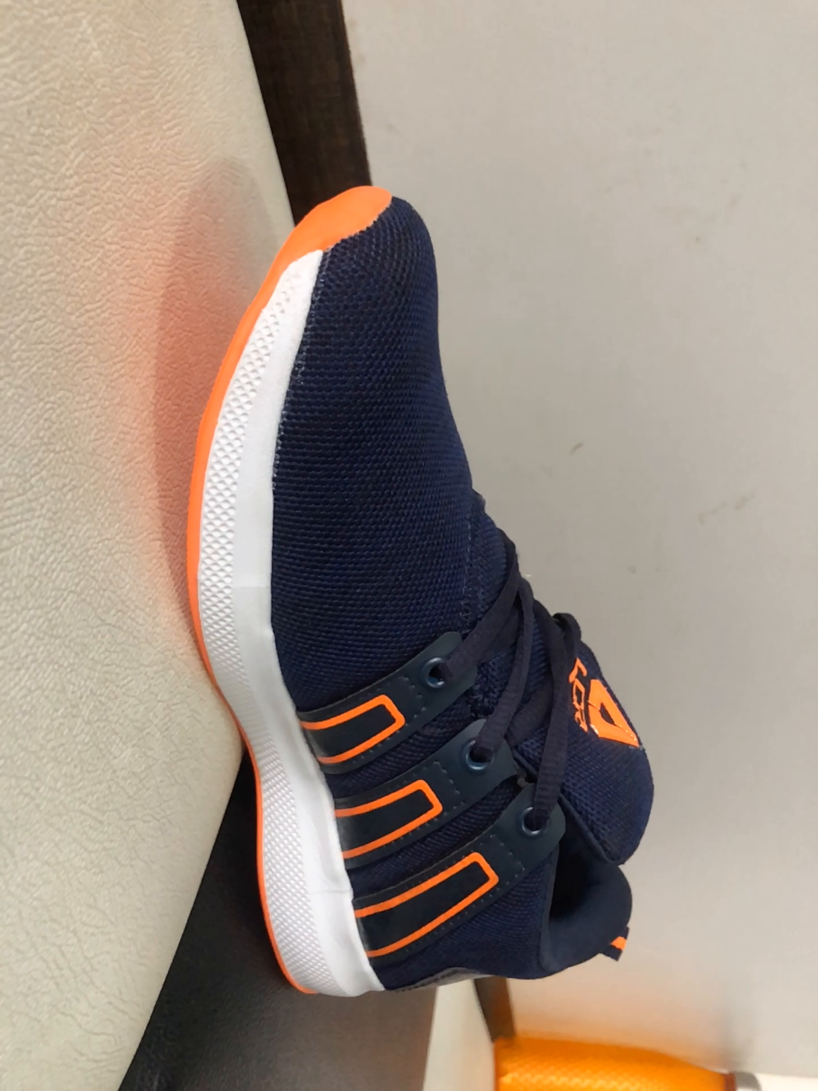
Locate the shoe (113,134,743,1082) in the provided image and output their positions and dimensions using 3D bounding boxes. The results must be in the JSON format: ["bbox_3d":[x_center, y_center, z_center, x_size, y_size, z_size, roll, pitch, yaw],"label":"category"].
[{"bbox_3d":[0.016,0.035,0.289,0.120,0.110,0.280,-75,166,-52],"label":"shoe"}]
